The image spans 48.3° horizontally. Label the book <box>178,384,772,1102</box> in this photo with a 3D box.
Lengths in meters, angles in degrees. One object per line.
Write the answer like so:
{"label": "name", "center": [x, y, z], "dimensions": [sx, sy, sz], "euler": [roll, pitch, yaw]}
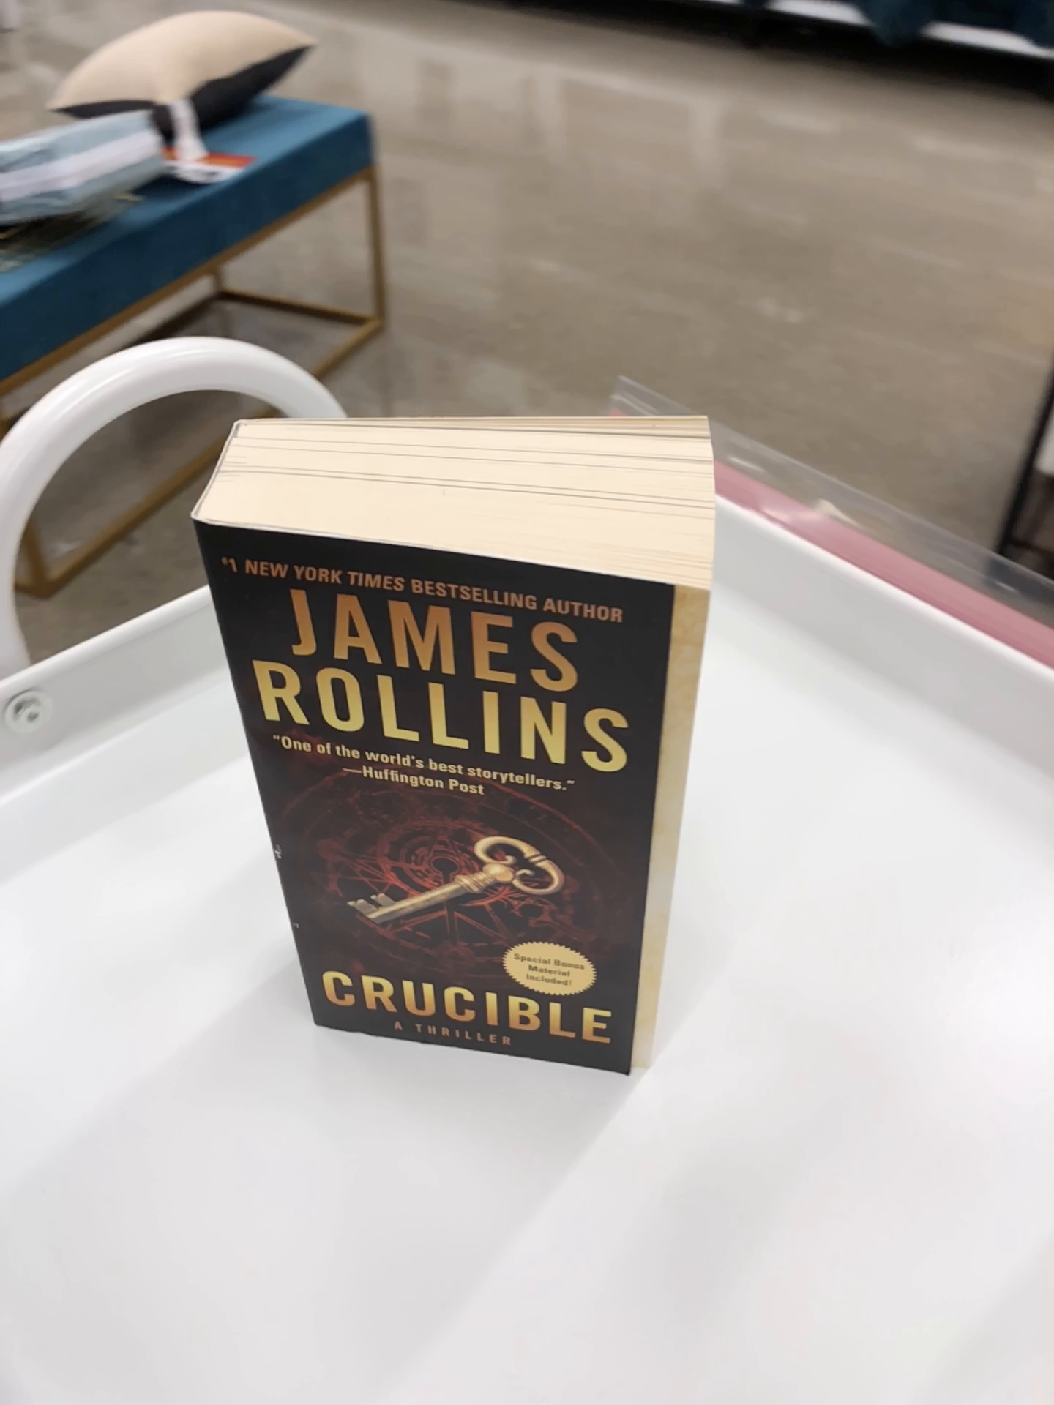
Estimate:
{"label": "book", "center": [-0.008, 0.021, 0.306], "dimensions": [0.112, 0.184, 0.066], "euler": [5, 43, 4]}
